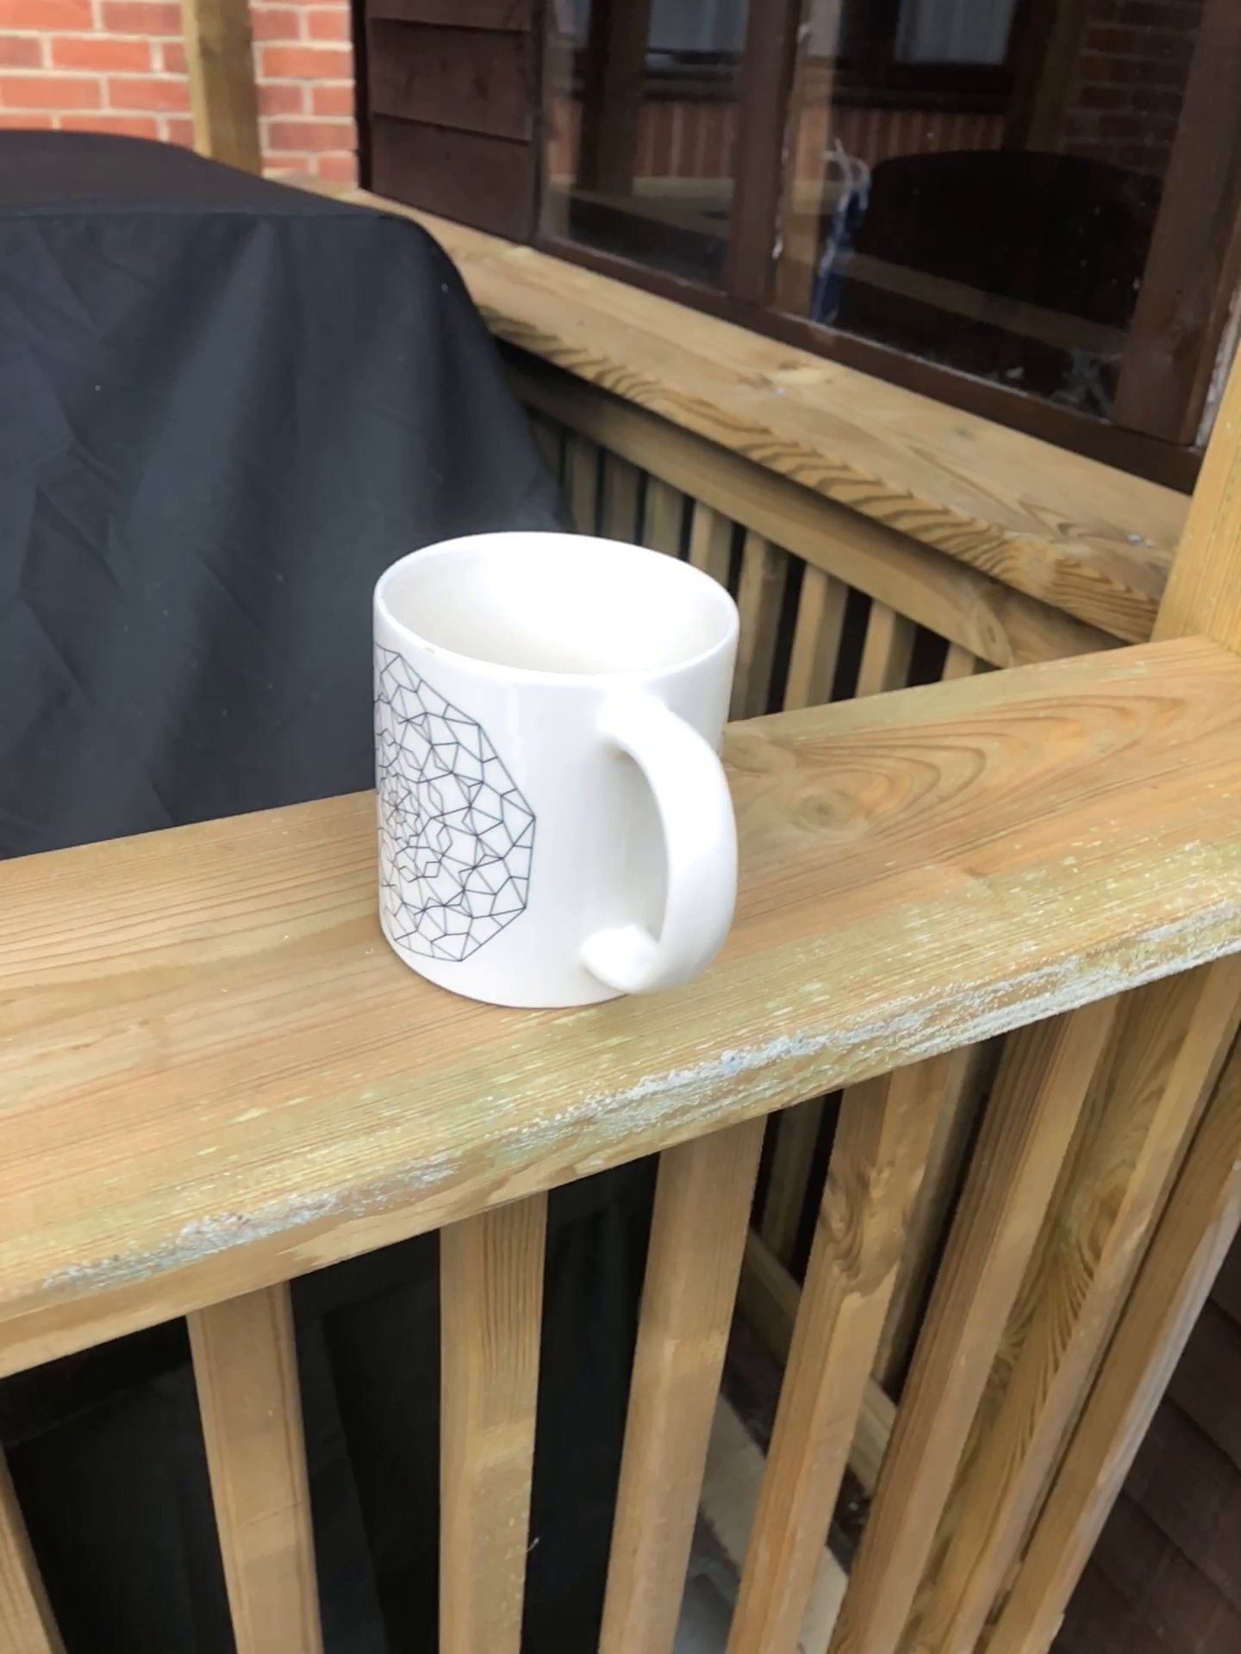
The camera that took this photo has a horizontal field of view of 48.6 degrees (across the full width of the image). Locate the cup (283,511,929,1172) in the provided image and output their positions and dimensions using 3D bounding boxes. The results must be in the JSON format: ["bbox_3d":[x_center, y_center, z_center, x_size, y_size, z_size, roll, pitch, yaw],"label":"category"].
[{"bbox_3d":[-0.012,-0.008,0.327,0.090,0.089,0.131,-14,34,-28],"label":"cup"}]
